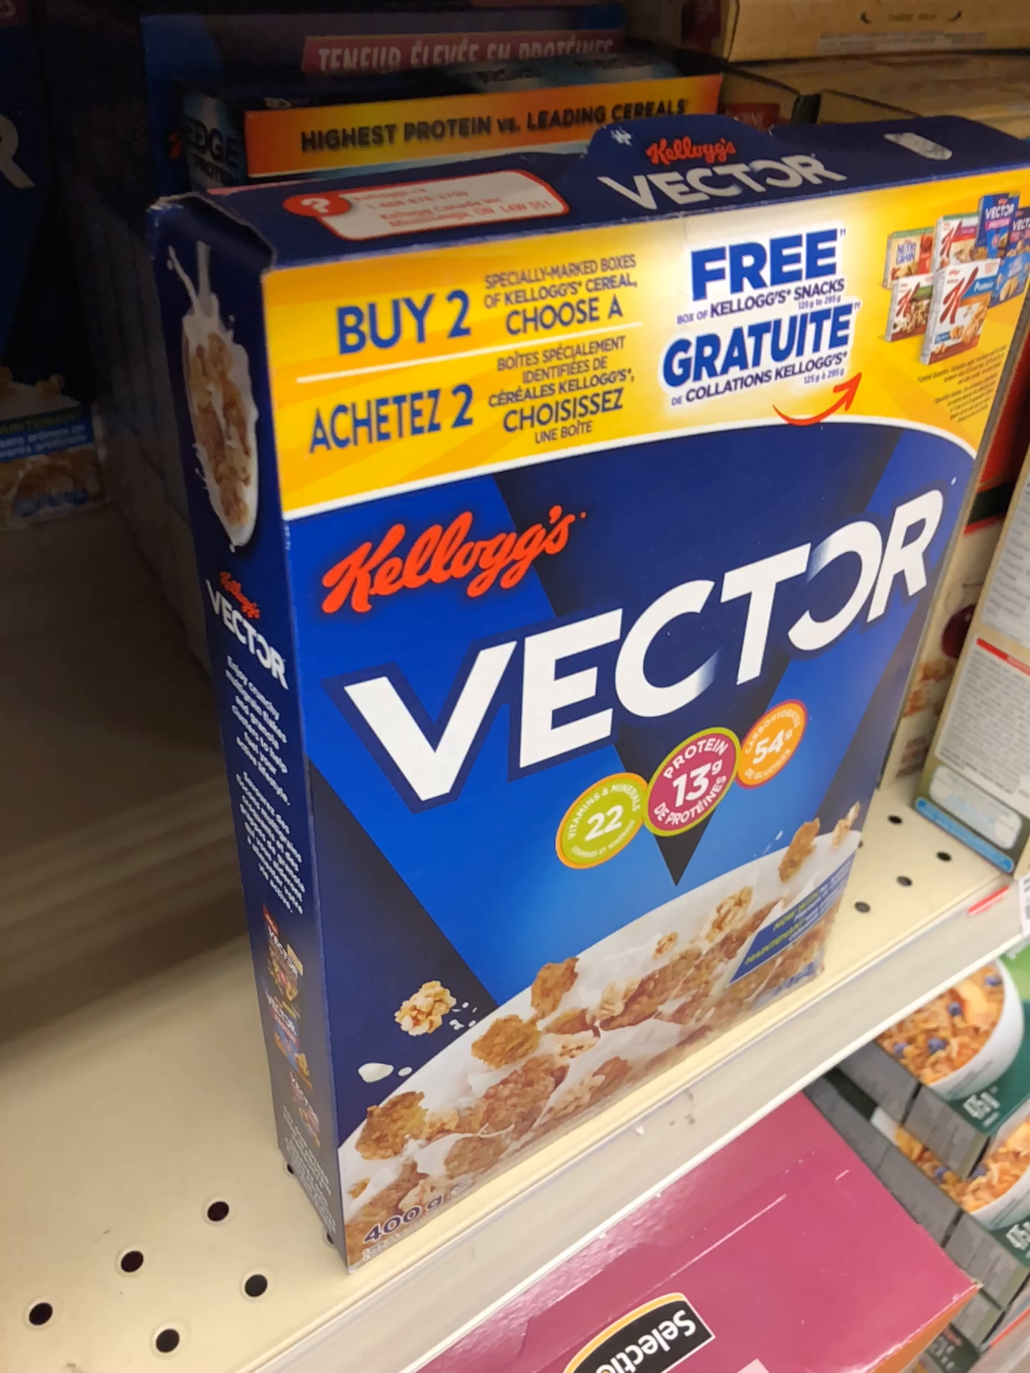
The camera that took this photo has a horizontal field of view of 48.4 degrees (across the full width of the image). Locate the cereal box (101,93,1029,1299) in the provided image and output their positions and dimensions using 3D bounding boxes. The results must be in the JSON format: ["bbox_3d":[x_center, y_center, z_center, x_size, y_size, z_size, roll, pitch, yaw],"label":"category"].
[{"bbox_3d":[0.025,0.009,0.292,0.201,0.268,0.060,-21,44,-30],"label":"cereal box"}]
